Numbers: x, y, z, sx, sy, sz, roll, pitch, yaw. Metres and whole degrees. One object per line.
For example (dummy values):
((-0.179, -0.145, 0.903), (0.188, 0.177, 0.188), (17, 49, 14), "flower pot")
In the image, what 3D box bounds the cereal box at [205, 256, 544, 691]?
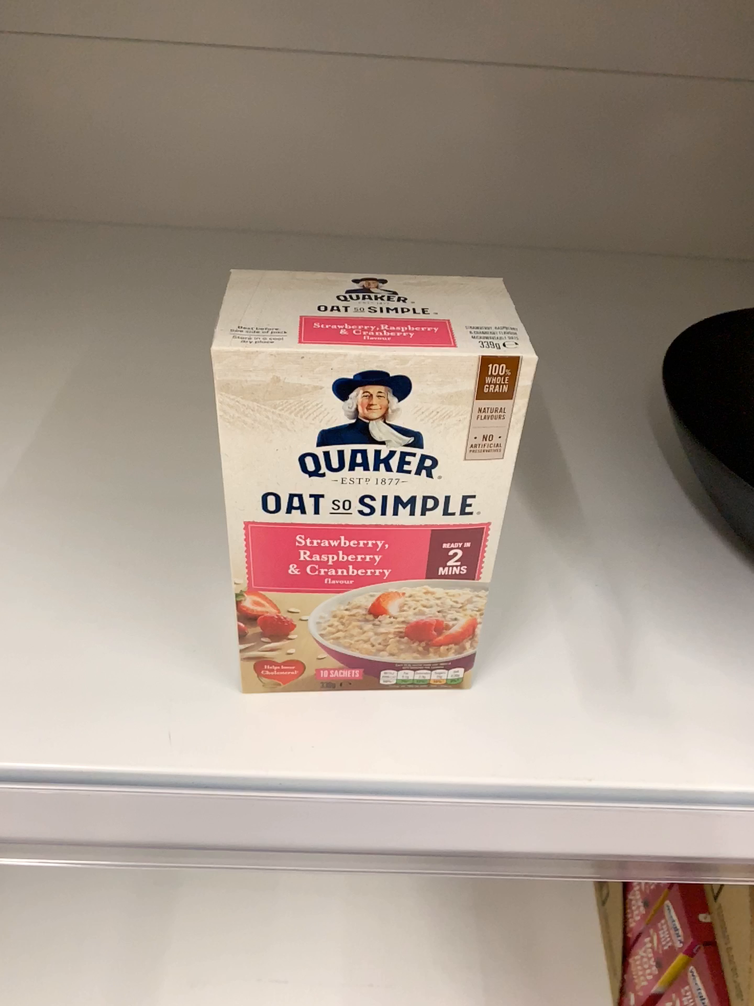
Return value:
((-0.009, -0.006, 0.392), (0.130, 0.208, 0.081), (0, 39, -6), "cereal box")
